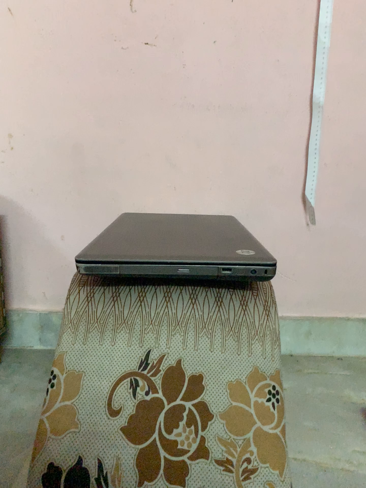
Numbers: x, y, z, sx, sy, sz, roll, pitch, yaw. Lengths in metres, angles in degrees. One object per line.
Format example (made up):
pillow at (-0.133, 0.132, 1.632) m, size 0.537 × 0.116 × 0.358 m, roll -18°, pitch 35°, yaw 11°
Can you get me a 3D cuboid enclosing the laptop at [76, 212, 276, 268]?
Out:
laptop at (-0.008, -0.020, 0.649) m, size 0.249 × 0.002 × 0.381 m, roll 2°, pitch 14°, yaw -1°
